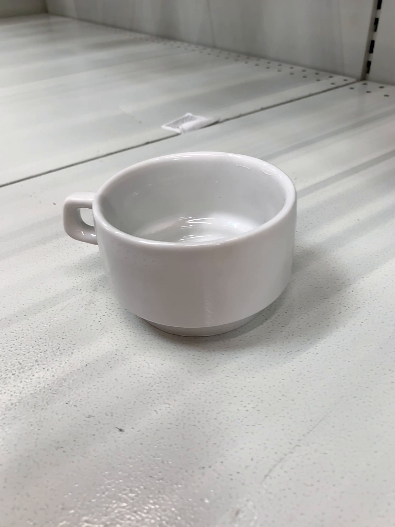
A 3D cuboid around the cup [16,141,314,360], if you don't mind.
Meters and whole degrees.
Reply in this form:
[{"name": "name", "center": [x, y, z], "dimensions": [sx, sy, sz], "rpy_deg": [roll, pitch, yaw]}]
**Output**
[{"name": "cup", "center": [-0.007, -0.016, 0.204], "dimensions": [0.111, 0.051, 0.091], "rpy_deg": [9, 39, 16]}]
